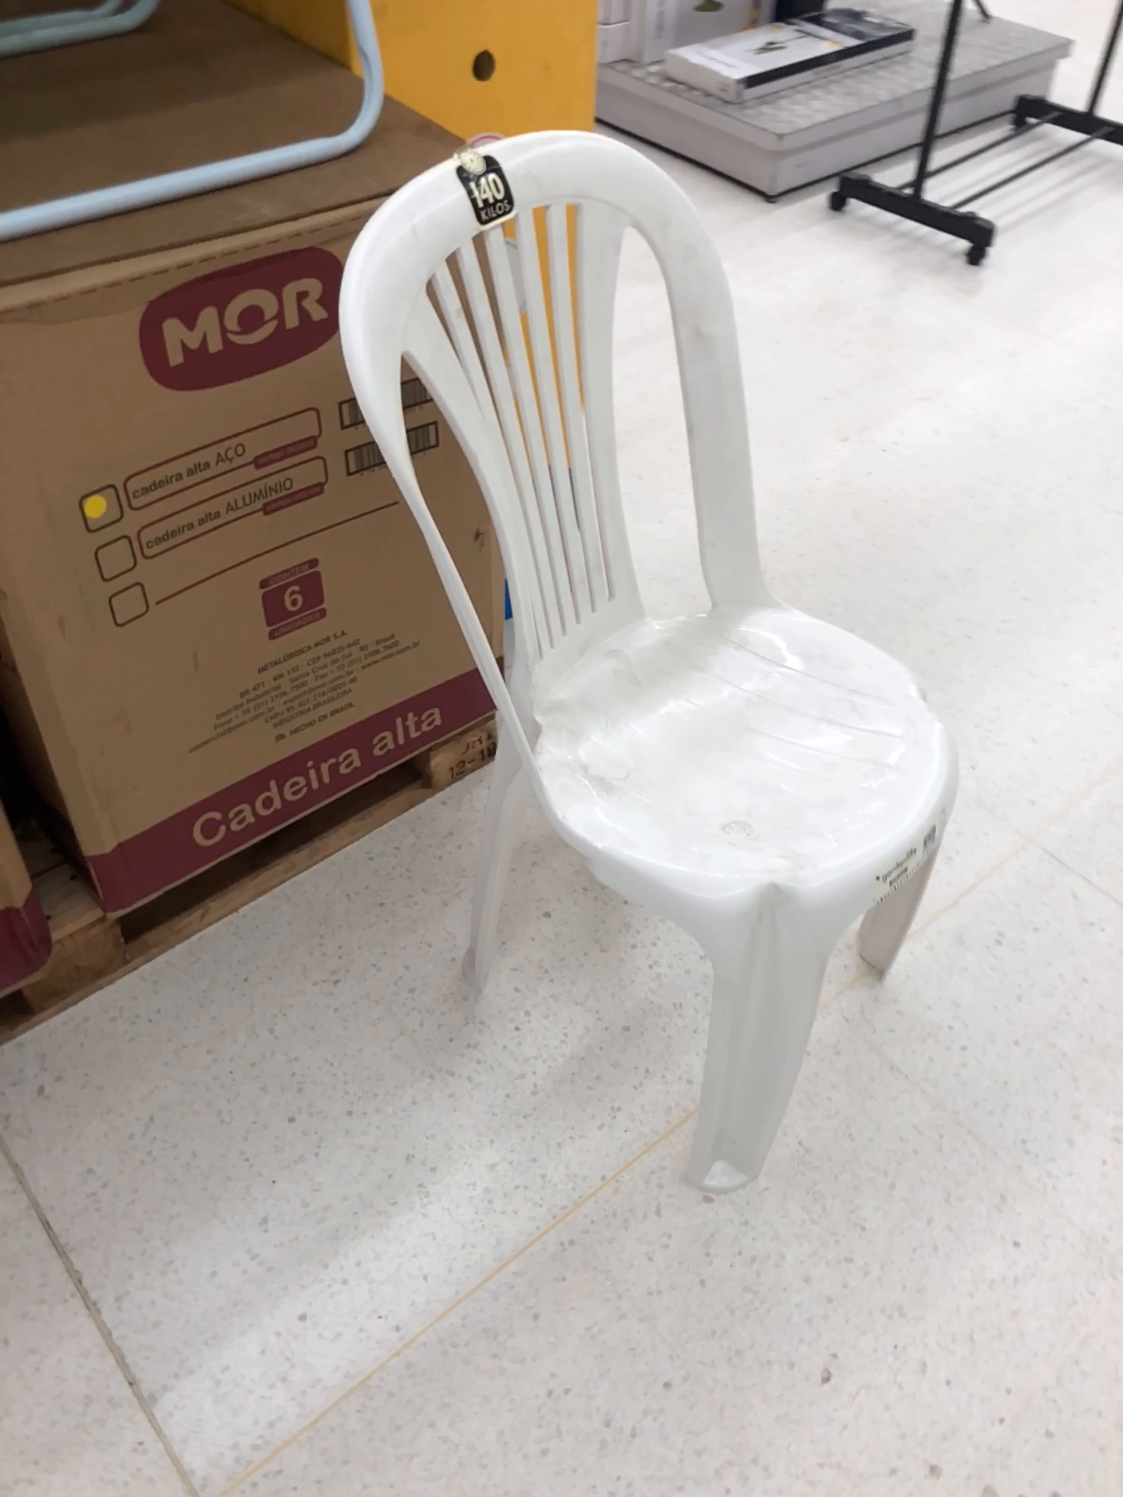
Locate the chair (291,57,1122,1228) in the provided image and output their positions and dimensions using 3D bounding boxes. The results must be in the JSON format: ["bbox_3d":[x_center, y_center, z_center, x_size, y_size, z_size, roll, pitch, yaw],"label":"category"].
[{"bbox_3d":[0.137,-0.061,1.101,0.461,0.834,0.442,26,50,23],"label":"chair"}]
